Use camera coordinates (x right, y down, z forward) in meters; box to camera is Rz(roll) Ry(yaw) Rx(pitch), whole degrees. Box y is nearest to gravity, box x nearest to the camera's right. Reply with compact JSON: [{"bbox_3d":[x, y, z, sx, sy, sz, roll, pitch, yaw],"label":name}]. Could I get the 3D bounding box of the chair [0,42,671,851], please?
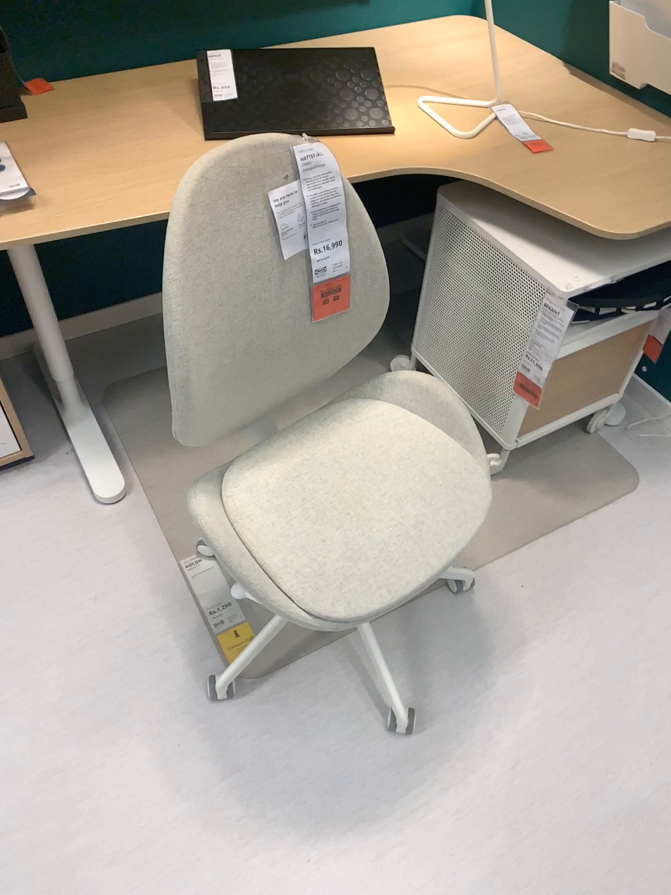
[{"bbox_3d":[-0.027,0.043,1.123,0.631,0.996,0.641,-32,57,-27],"label":"chair"}]
